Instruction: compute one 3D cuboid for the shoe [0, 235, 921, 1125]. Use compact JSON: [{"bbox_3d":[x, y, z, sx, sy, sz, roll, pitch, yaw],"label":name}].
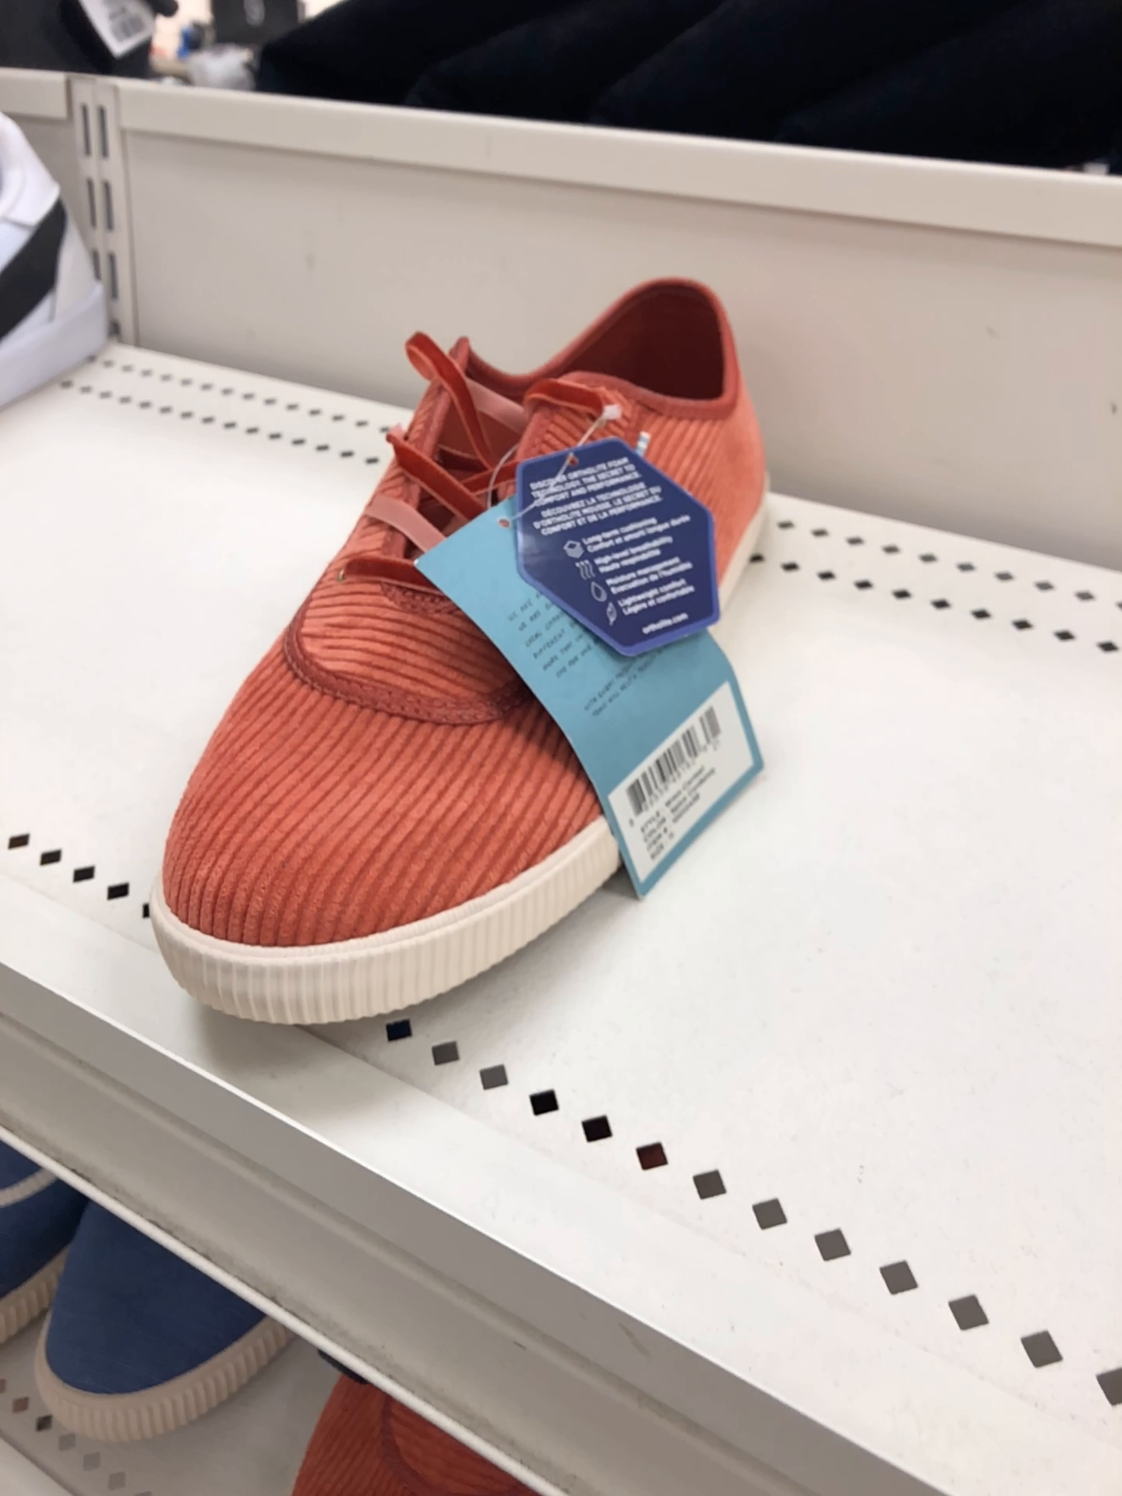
[{"bbox_3d":[0.009,-0.059,0.357,0.100,0.089,0.322,16,38,21],"label":"shoe"}]
